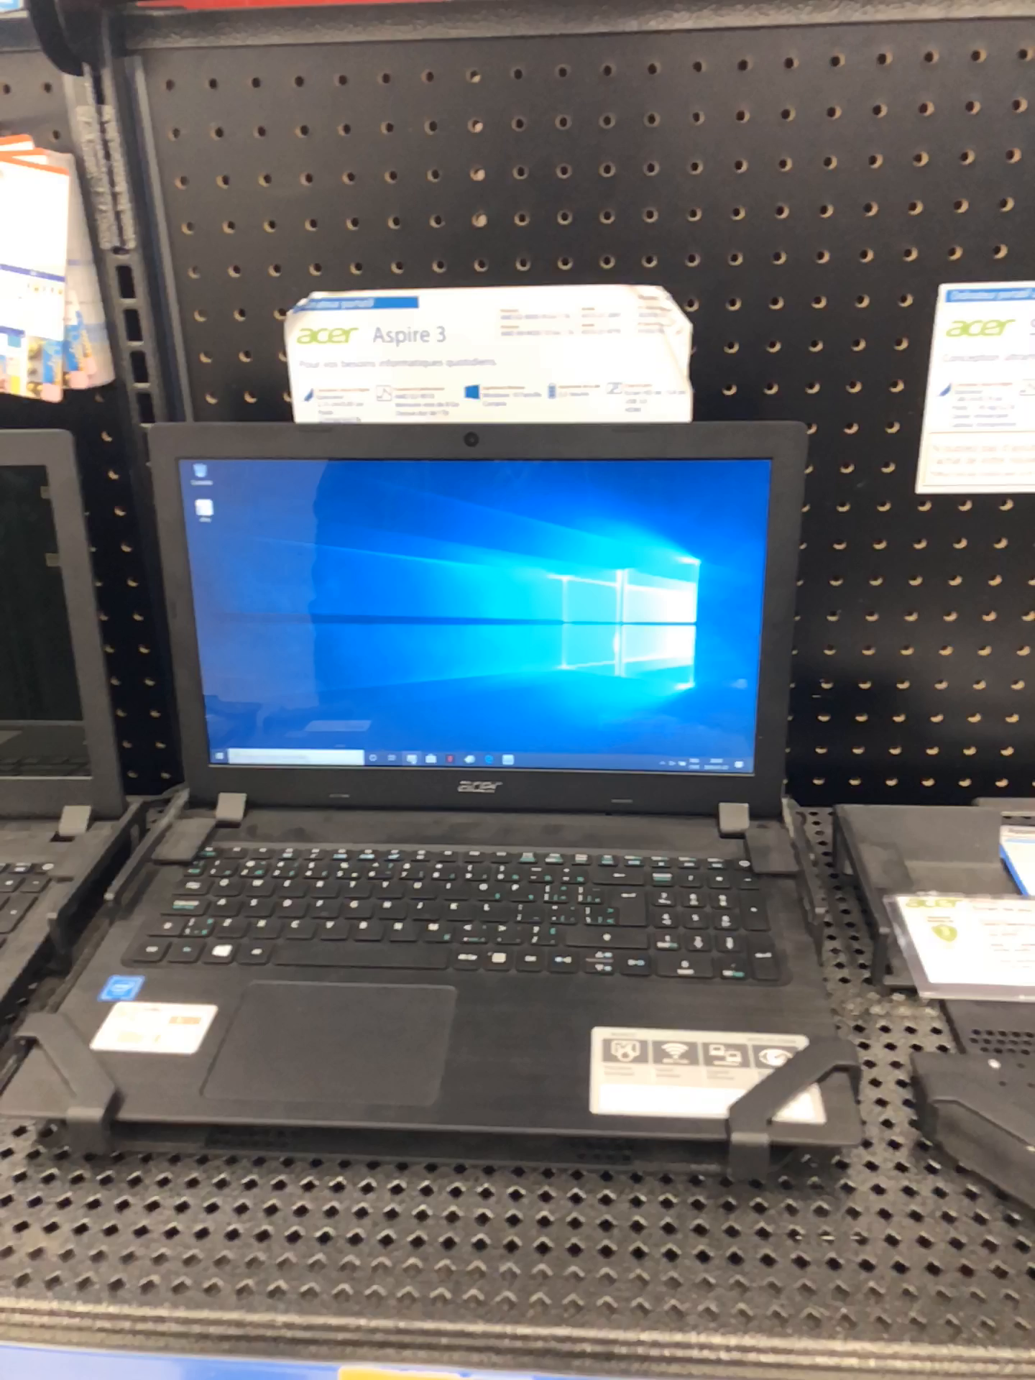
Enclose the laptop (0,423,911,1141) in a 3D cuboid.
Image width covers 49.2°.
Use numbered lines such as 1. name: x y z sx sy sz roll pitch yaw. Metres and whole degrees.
1. laptop: -0.039 0.018 0.591 0.386 0.247 0.296 0 24 5
